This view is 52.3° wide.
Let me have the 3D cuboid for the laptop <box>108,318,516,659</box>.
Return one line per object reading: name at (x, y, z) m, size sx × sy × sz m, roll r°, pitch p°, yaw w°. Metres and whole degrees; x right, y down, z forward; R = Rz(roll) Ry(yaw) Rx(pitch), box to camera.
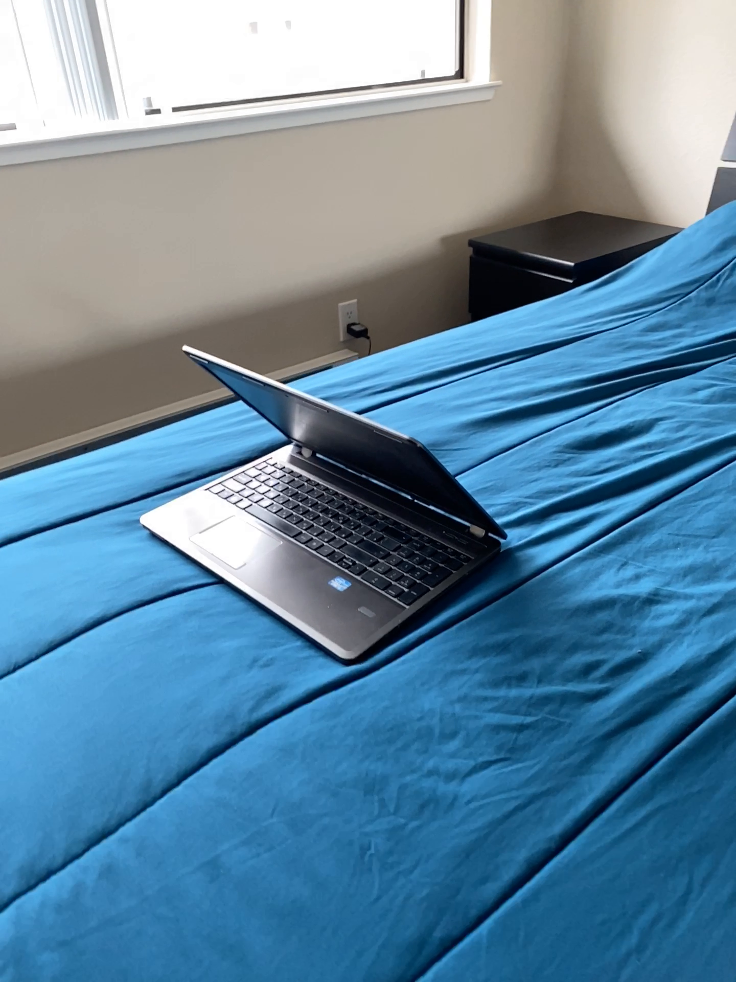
laptop at (-0.064, -0.036, 0.846) m, size 0.370 × 0.192 × 0.255 m, roll 25°, pitch 40°, yaw 38°
